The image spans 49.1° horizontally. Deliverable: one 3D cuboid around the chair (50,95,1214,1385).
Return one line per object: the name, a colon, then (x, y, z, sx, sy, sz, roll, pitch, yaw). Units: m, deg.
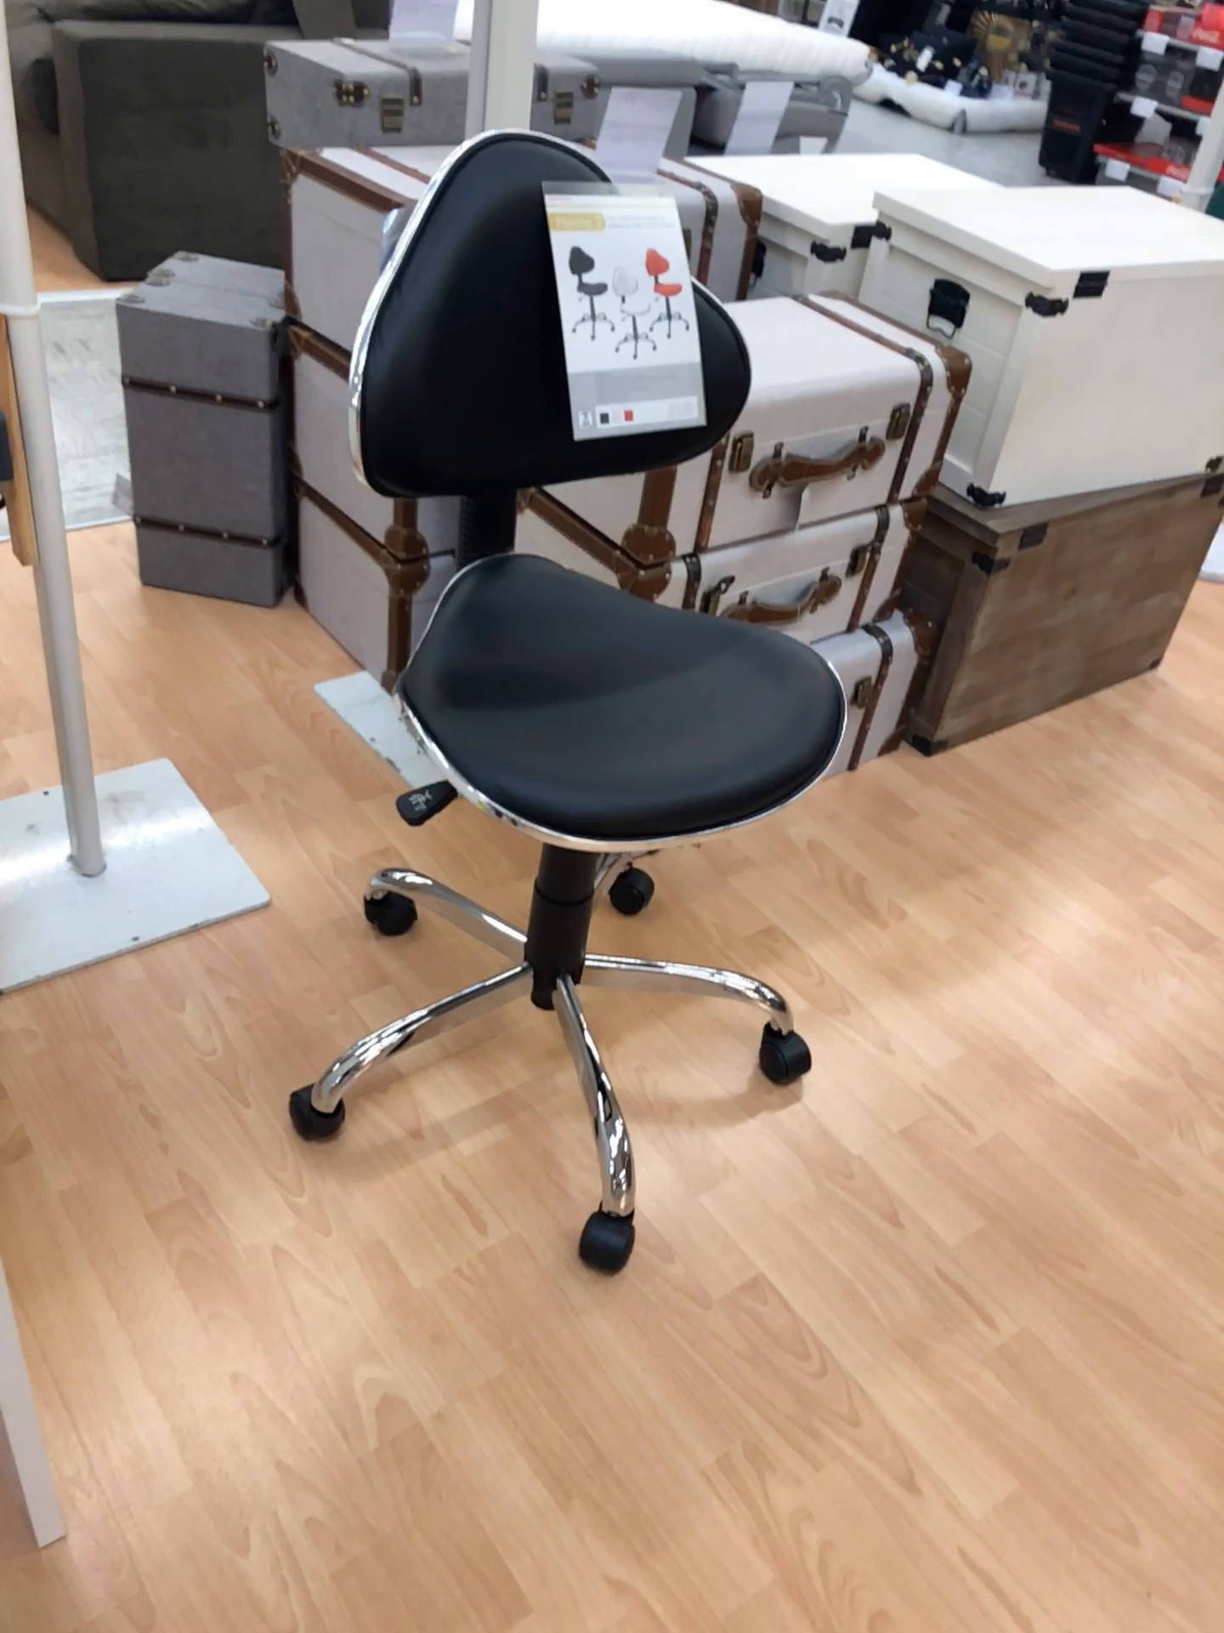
chair: (-0.037, -0.113, 1.229, 0.603, 0.854, 0.611, -23, 47, -36)
